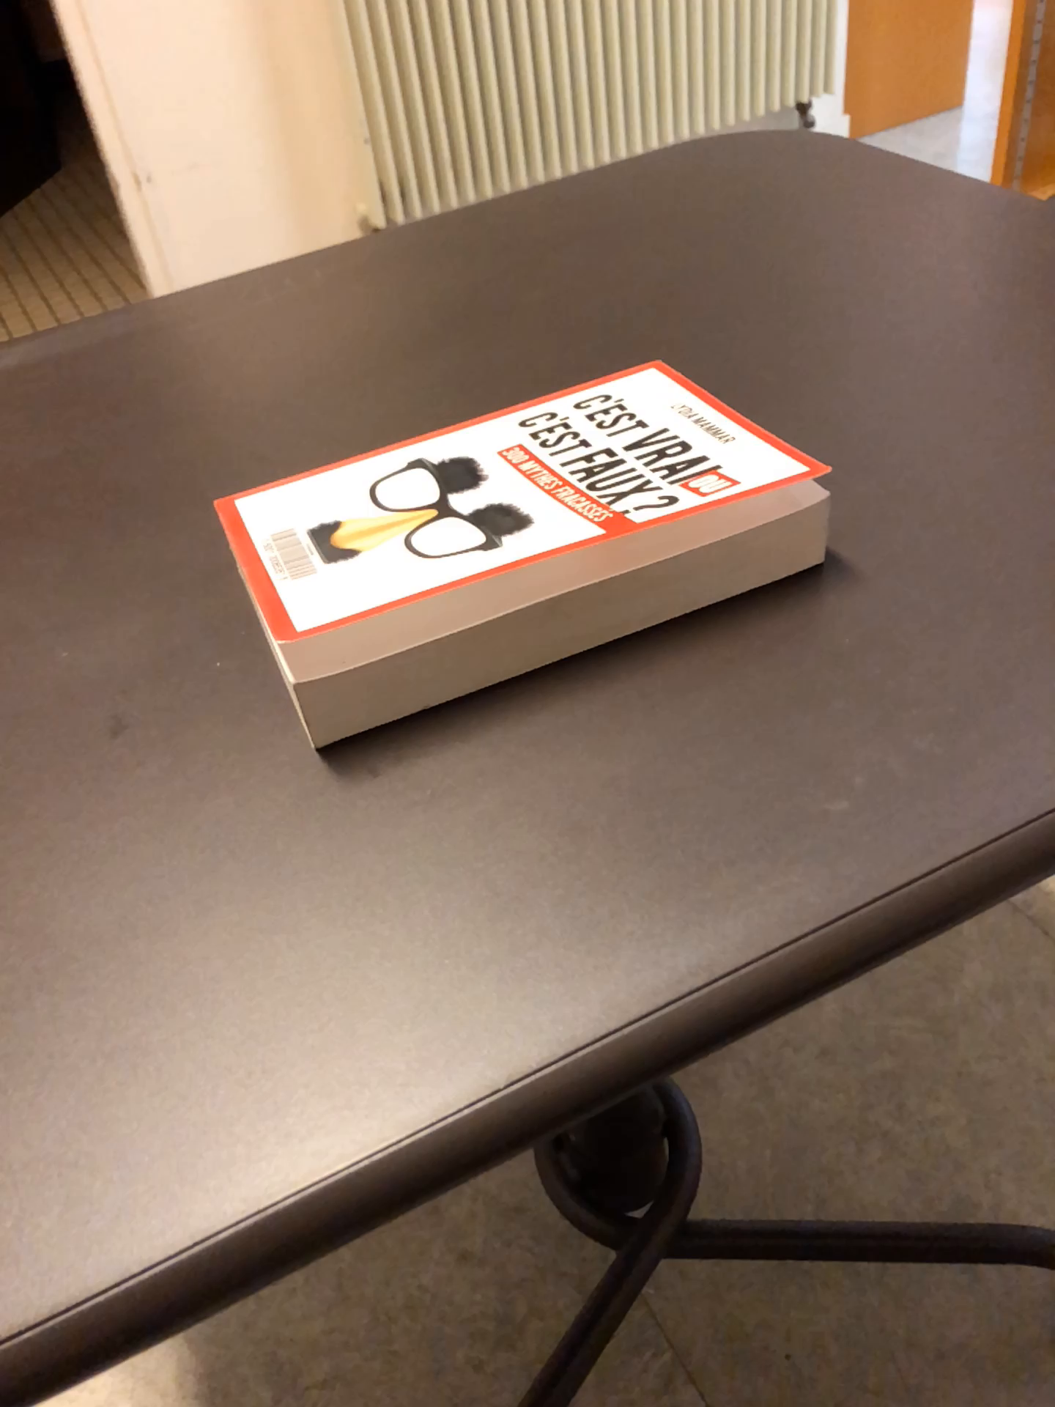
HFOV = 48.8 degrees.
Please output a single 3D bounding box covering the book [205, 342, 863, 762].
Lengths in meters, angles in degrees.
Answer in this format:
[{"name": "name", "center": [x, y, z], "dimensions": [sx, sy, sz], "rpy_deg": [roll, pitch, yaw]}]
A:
[{"name": "book", "center": [-0.004, -0.061, 0.389], "dimensions": [0.184, 0.034, 0.127], "rpy_deg": [-20, 37, -11]}]
